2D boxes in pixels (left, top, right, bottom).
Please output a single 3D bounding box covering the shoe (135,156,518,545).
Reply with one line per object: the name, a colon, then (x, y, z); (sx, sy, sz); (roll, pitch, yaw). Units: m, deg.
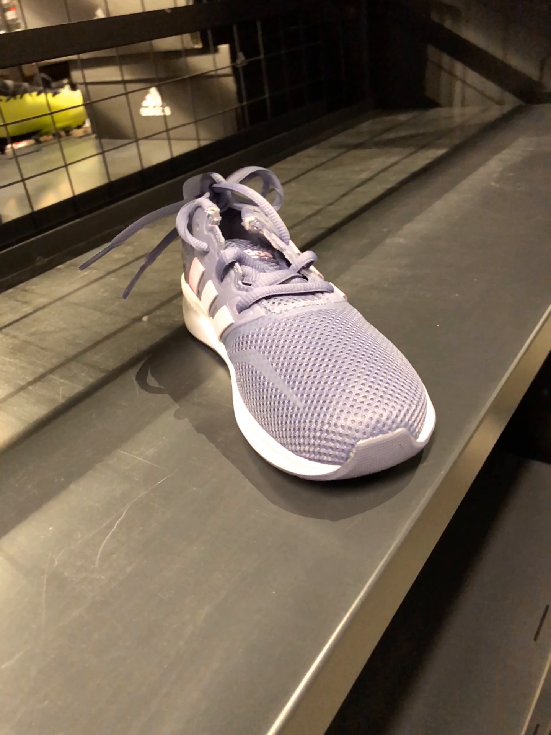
shoe: (0.005, -0.034, 0.309); (0.090, 0.090, 0.221); (-18, 32, -15)
